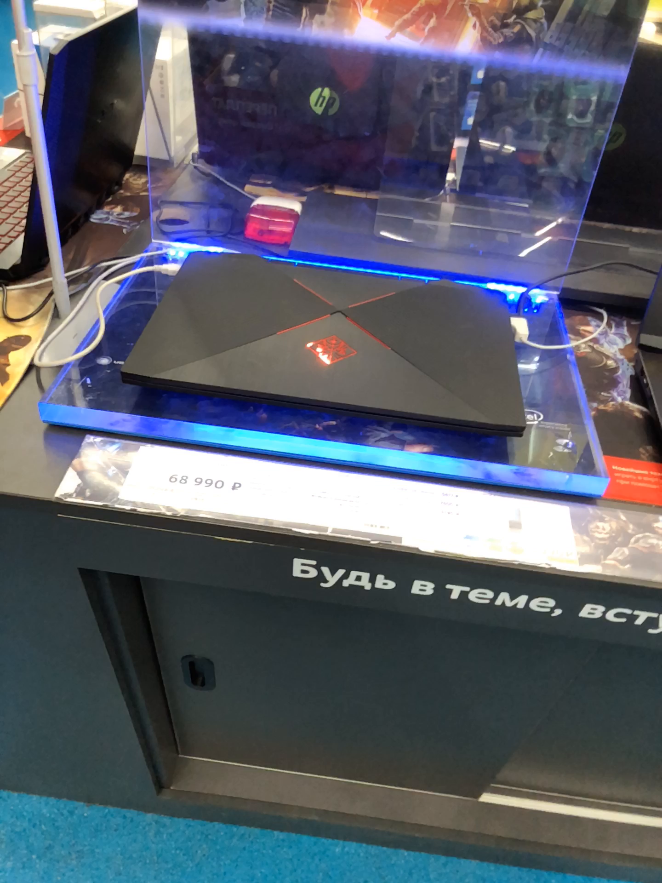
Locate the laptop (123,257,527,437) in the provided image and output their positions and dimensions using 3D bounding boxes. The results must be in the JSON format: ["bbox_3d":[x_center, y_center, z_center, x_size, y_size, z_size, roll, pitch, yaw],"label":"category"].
[{"bbox_3d":[0.004,-0.105,0.715,0.349,0.003,0.238,8,40,3],"label":"laptop"}]
